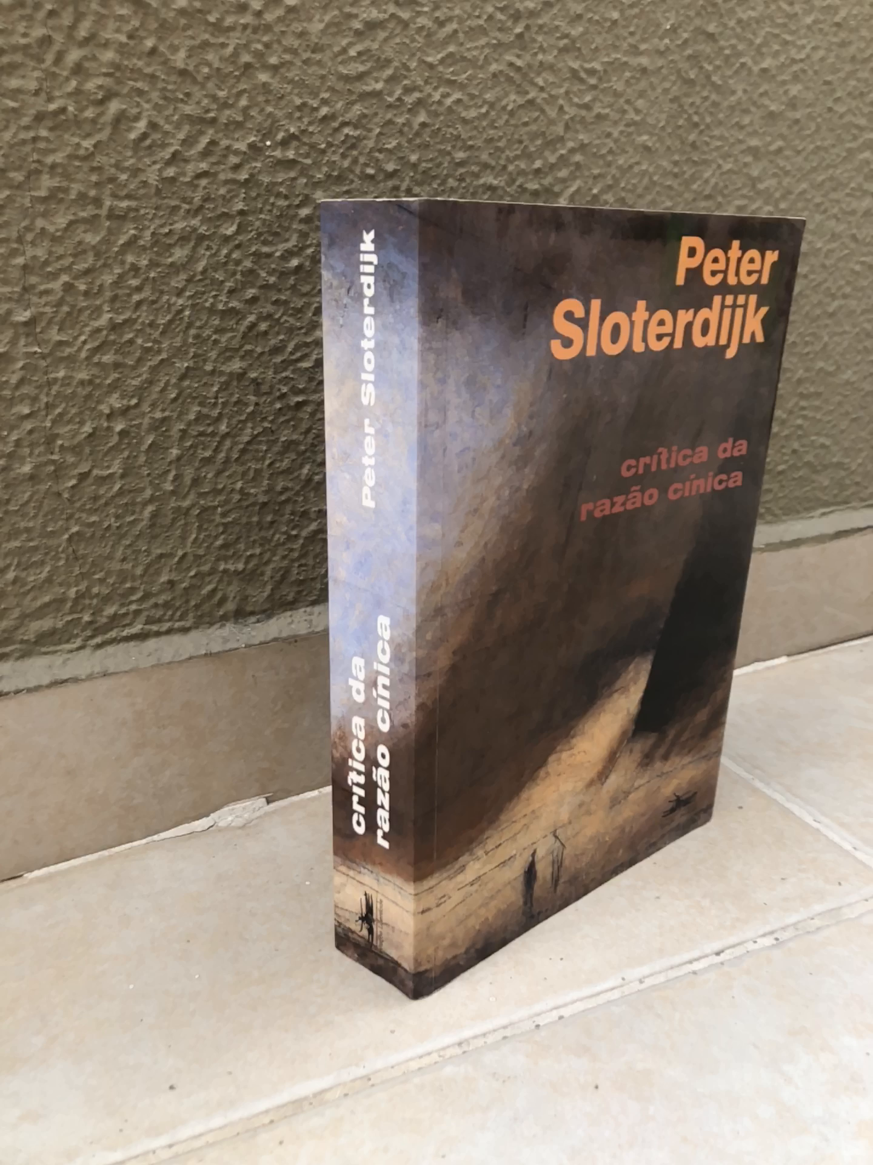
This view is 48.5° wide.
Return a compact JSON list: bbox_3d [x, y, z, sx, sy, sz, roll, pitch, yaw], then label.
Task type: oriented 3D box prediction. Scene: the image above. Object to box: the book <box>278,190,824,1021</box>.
[{"bbox_3d":[0.039,-0.004,0.312,0.166,0.220,0.058,-15,26,-39],"label":"book"}]
